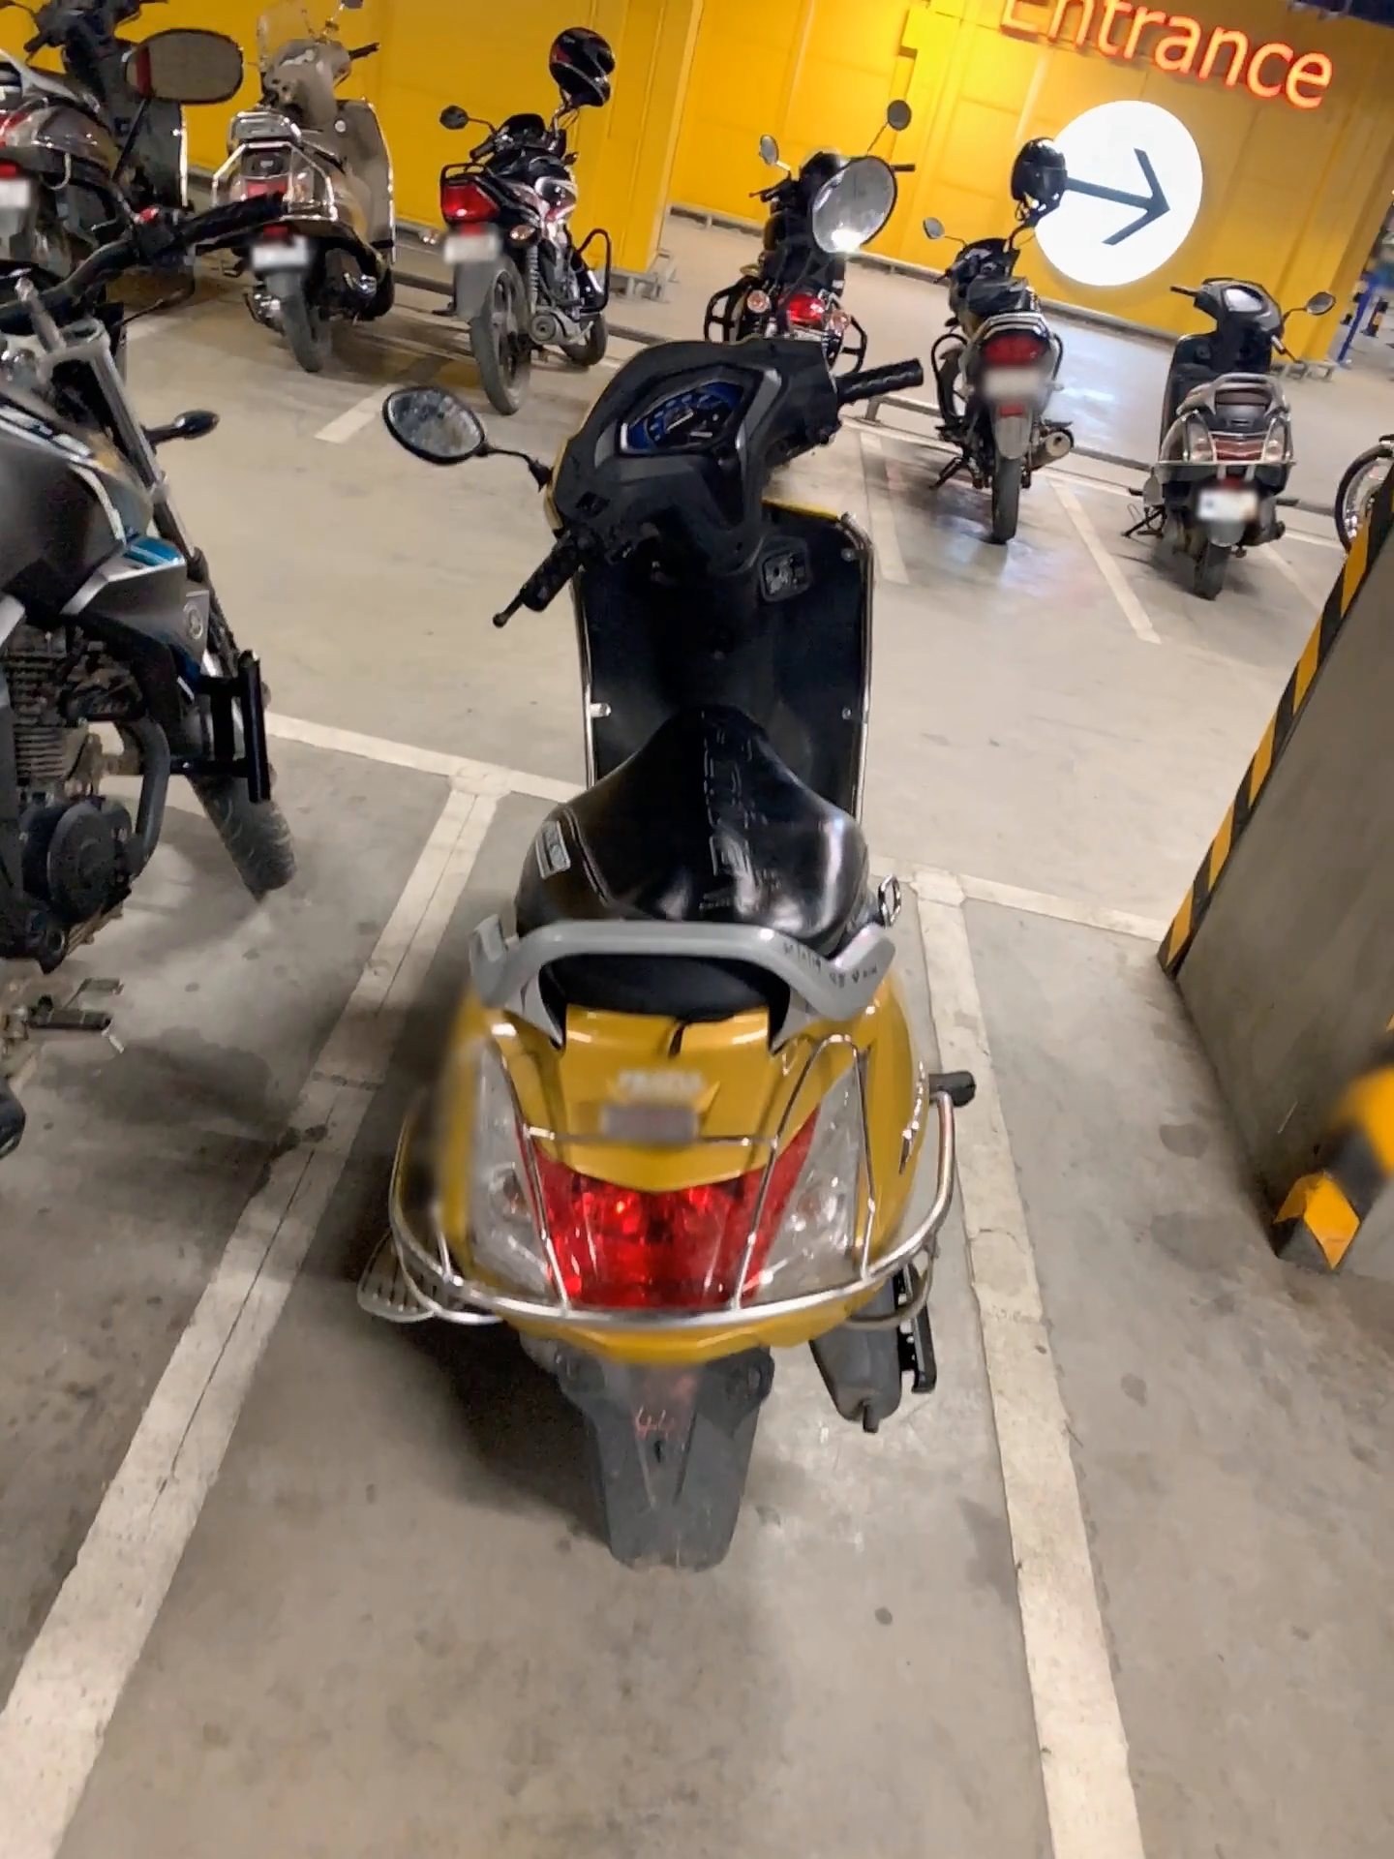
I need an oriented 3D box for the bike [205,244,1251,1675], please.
[{"bbox_3d":[-0.098,-0.149,1.713,0.568,0.993,1.528,9,30,-9],"label":"bike"}]
